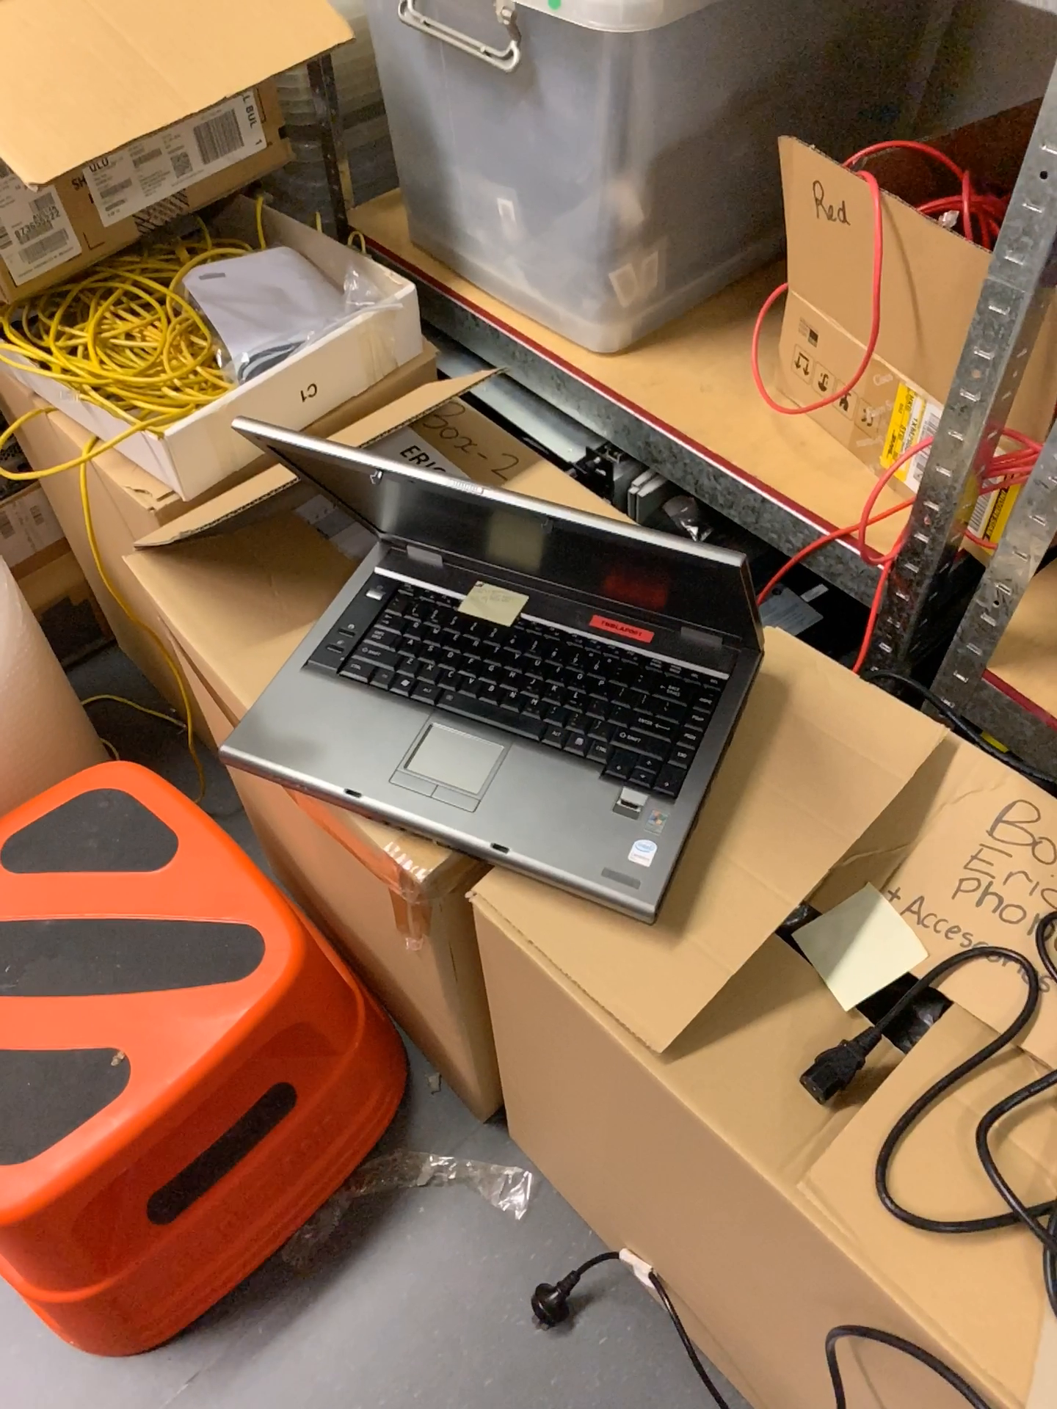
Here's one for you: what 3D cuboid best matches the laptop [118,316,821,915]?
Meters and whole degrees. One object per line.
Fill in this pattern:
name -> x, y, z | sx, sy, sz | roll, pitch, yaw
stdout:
laptop -> -0.027, -0.074, 0.764 | 0.360, 0.238, 0.263 | 18, 53, 17
